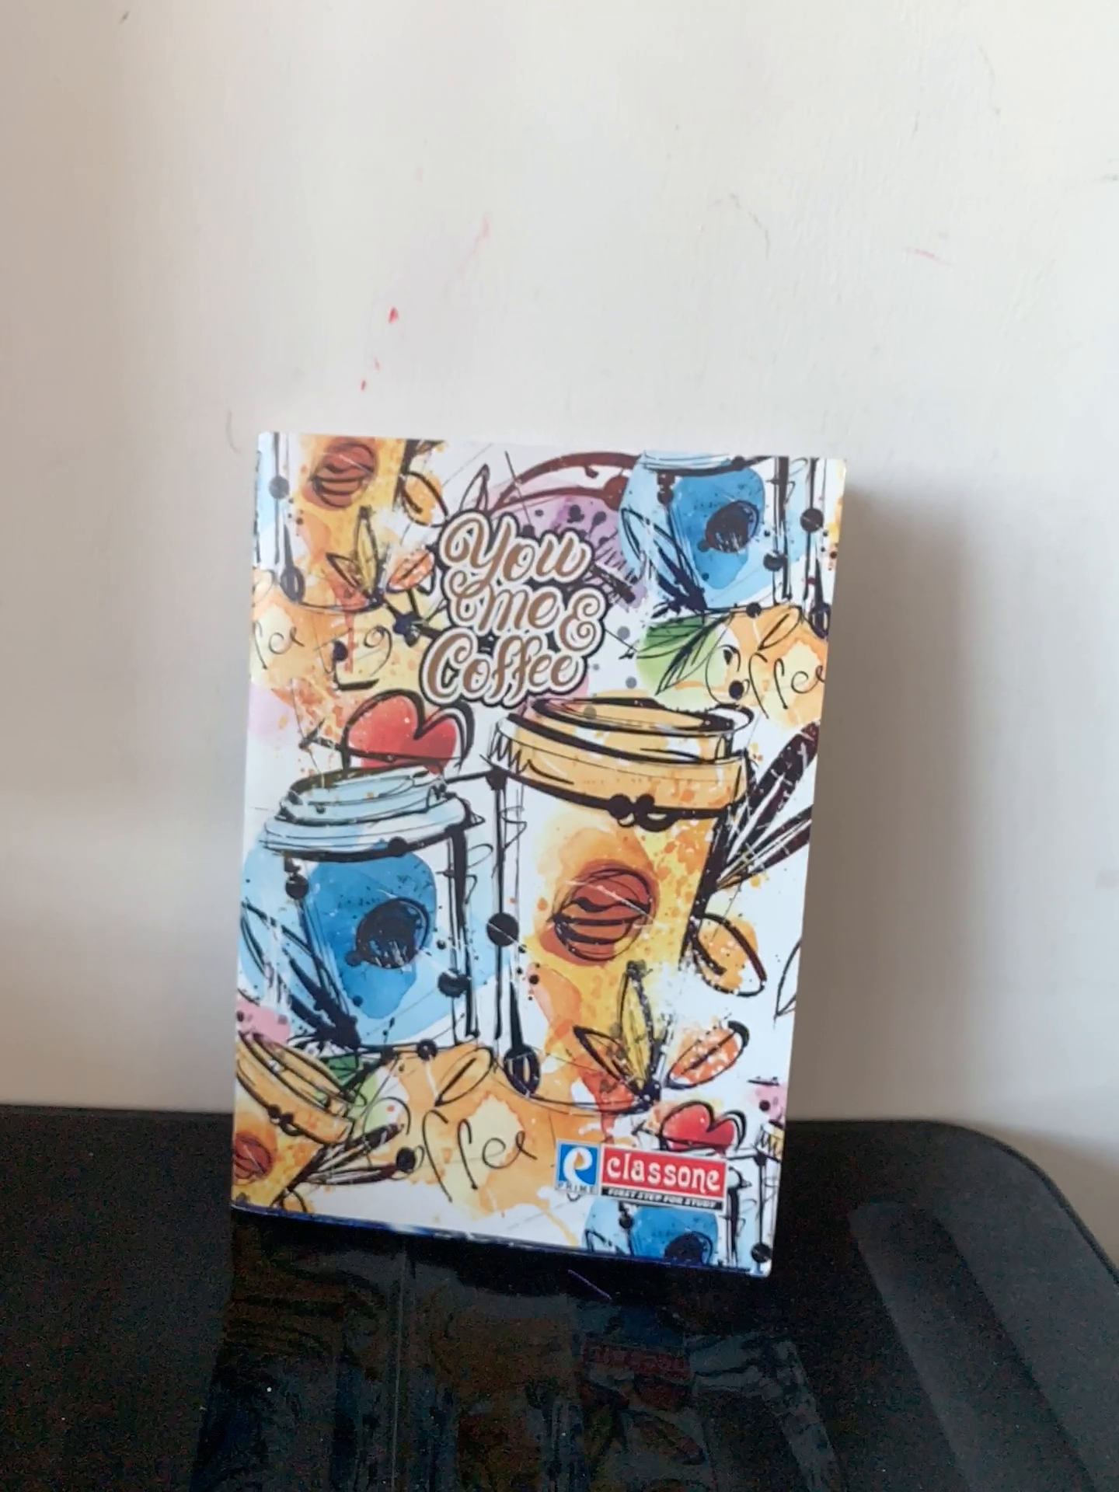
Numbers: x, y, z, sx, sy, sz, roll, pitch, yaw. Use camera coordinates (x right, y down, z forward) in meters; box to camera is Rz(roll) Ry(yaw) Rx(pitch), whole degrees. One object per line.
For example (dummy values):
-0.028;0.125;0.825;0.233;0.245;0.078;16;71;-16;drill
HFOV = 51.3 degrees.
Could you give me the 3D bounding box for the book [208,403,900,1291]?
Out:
-0.008;0.038;0.437;0.220;0.300;0.050;5;8;2;book
